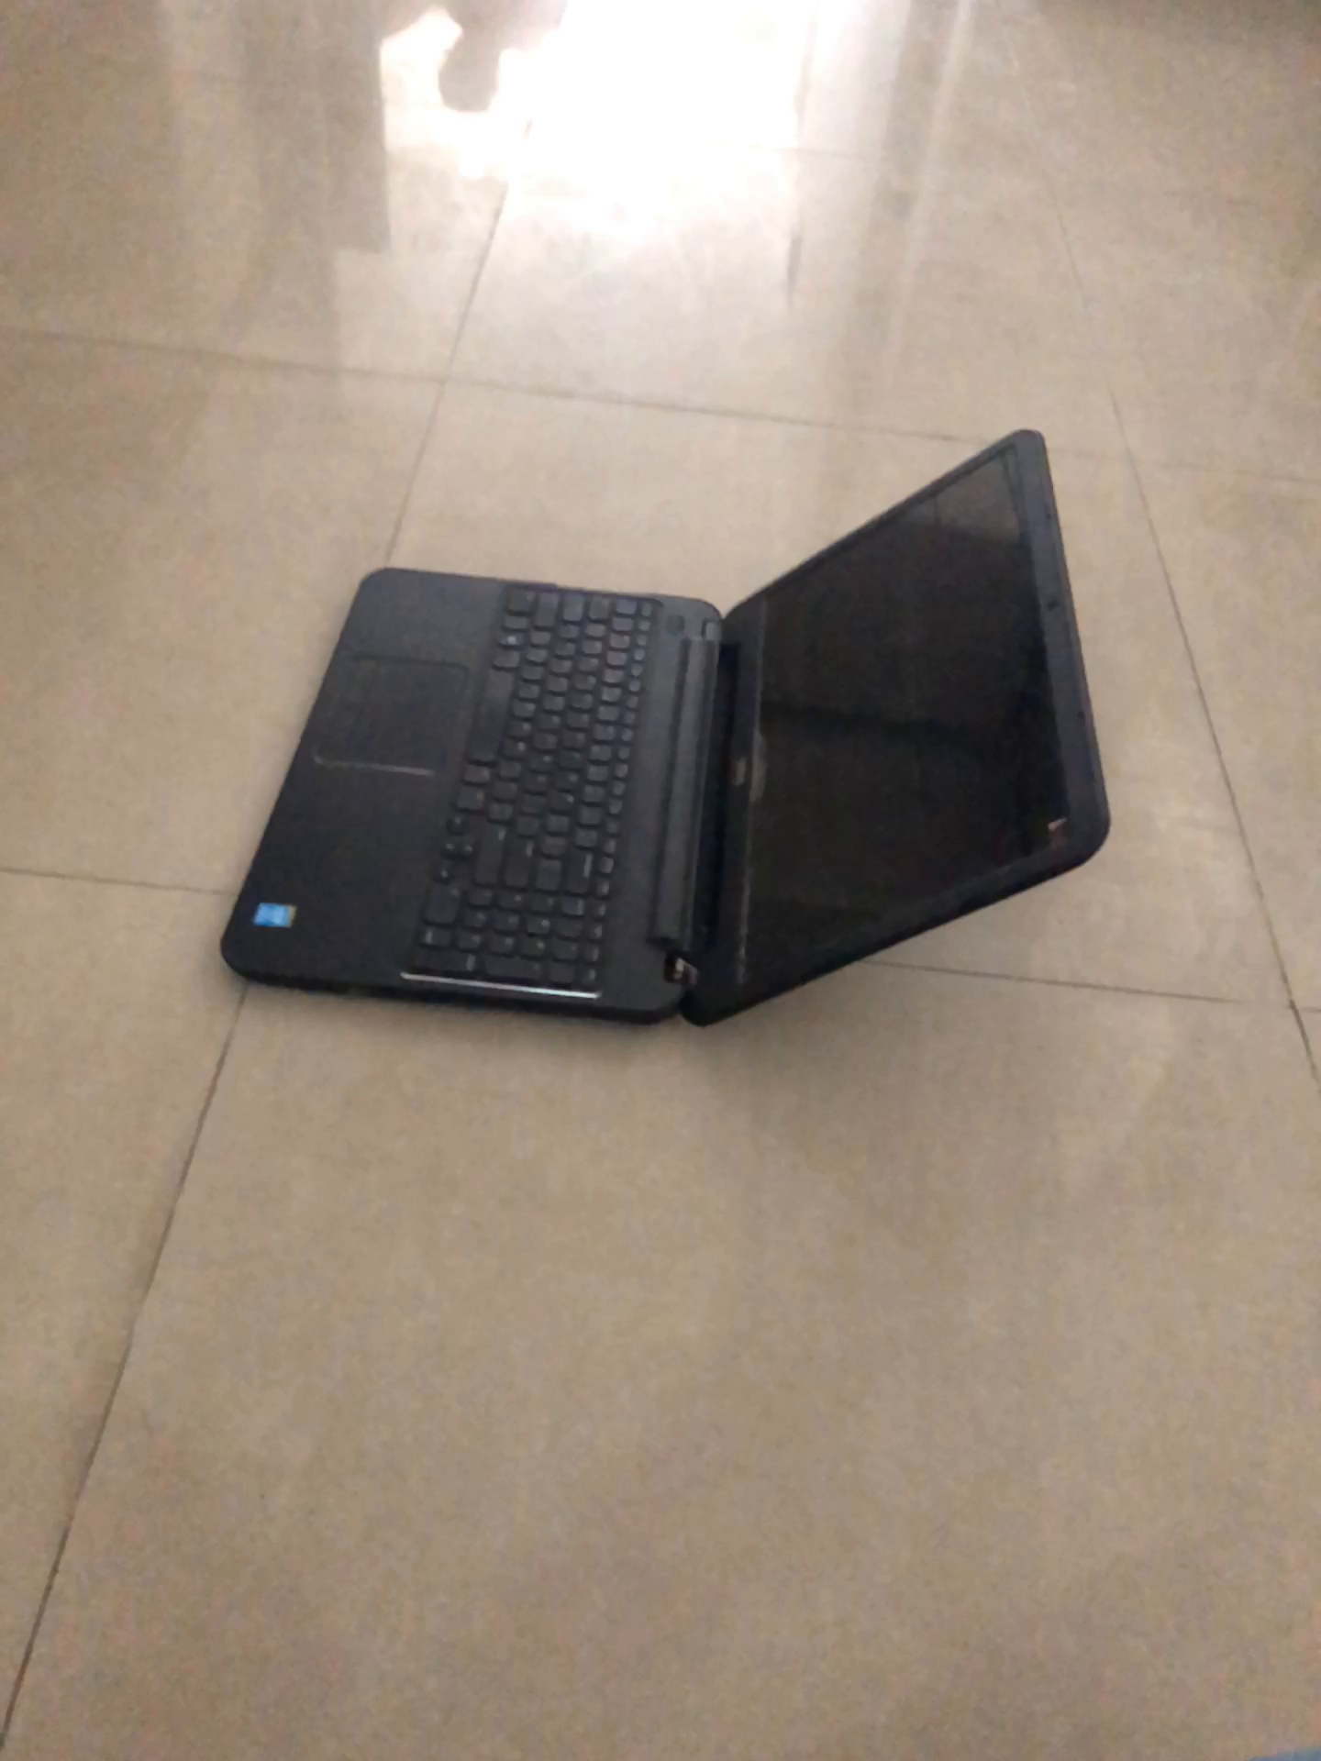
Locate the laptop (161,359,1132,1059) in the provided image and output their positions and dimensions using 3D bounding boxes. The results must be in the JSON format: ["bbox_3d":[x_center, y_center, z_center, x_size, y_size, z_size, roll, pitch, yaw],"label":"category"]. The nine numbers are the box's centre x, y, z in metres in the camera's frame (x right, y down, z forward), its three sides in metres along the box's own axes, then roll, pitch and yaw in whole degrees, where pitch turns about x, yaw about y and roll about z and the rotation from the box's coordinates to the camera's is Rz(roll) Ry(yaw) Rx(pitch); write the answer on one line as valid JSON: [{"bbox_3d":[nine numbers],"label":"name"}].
[{"bbox_3d":[0.003,-0.113,0.819,0.427,0.164,0.359,6,47,1],"label":"laptop"}]
